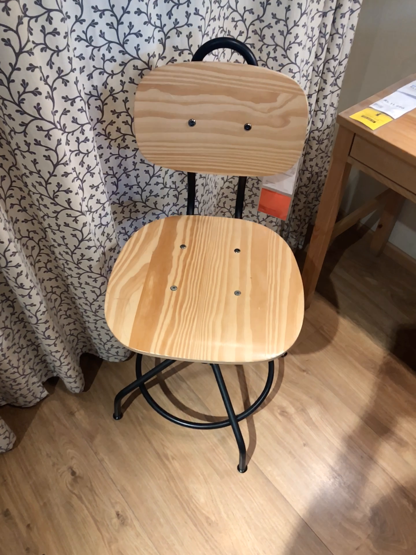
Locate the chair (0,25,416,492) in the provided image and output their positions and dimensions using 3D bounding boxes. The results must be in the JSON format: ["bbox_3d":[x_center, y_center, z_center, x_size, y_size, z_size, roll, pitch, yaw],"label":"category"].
[{"bbox_3d":[-0.011,0.022,0.967,0.520,0.815,0.553,4,50,3],"label":"chair"}]
